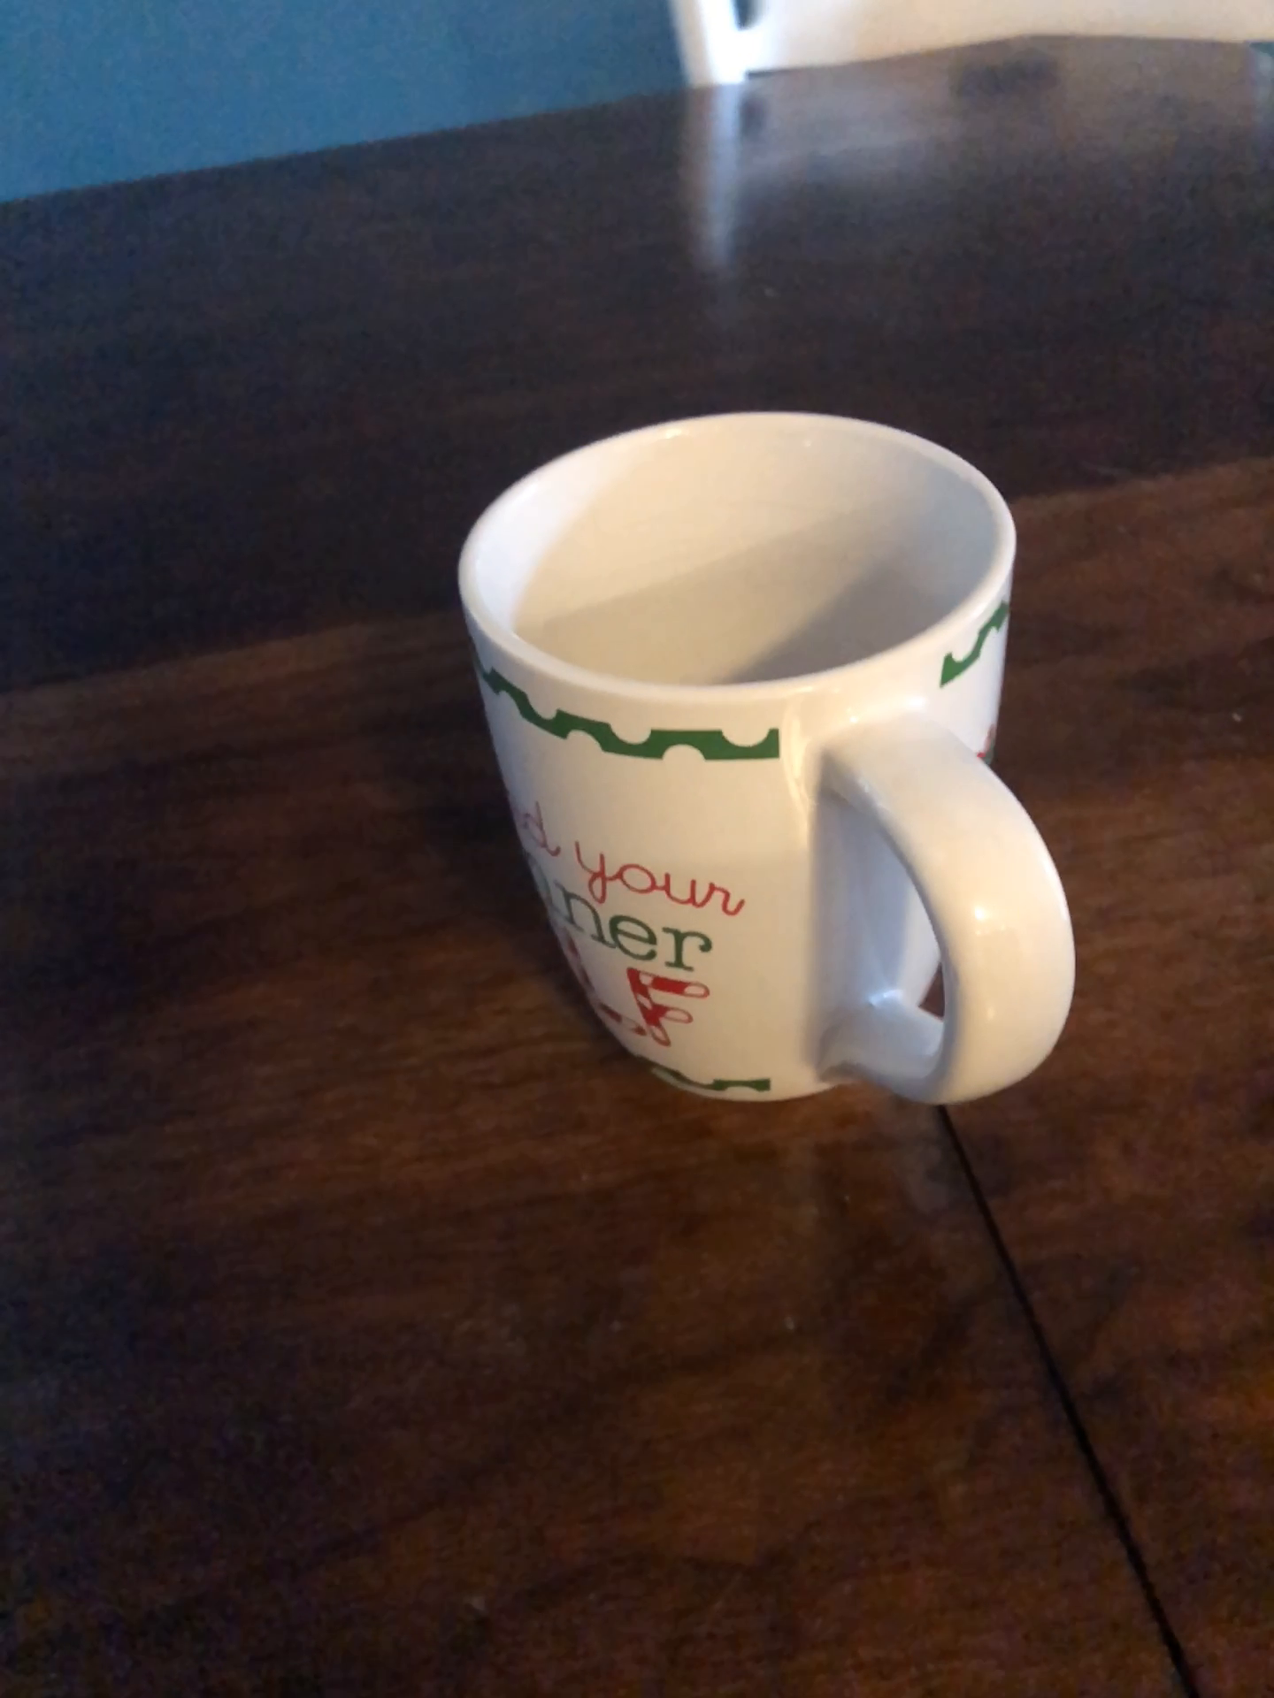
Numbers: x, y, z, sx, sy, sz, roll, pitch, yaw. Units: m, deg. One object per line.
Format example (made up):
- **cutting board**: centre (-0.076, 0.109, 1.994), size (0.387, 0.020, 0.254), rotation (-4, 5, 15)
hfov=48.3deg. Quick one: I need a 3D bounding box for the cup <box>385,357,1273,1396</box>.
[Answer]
- **cup**: centre (0.035, -0.006, 0.300), size (0.110, 0.120, 0.161), rotation (-21, 42, -15)
